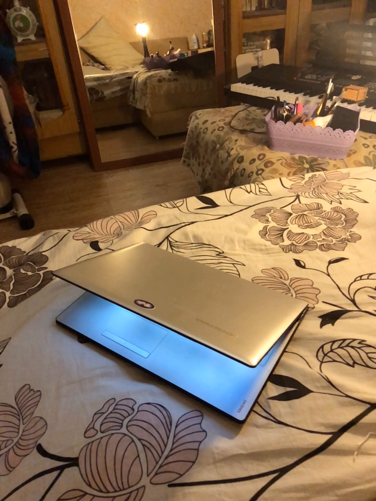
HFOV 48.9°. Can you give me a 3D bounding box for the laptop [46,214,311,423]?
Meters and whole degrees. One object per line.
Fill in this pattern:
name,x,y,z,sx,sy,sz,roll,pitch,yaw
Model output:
laptop,-0.016,0.078,0.718,0.380,0.082,0.257,19,42,30
